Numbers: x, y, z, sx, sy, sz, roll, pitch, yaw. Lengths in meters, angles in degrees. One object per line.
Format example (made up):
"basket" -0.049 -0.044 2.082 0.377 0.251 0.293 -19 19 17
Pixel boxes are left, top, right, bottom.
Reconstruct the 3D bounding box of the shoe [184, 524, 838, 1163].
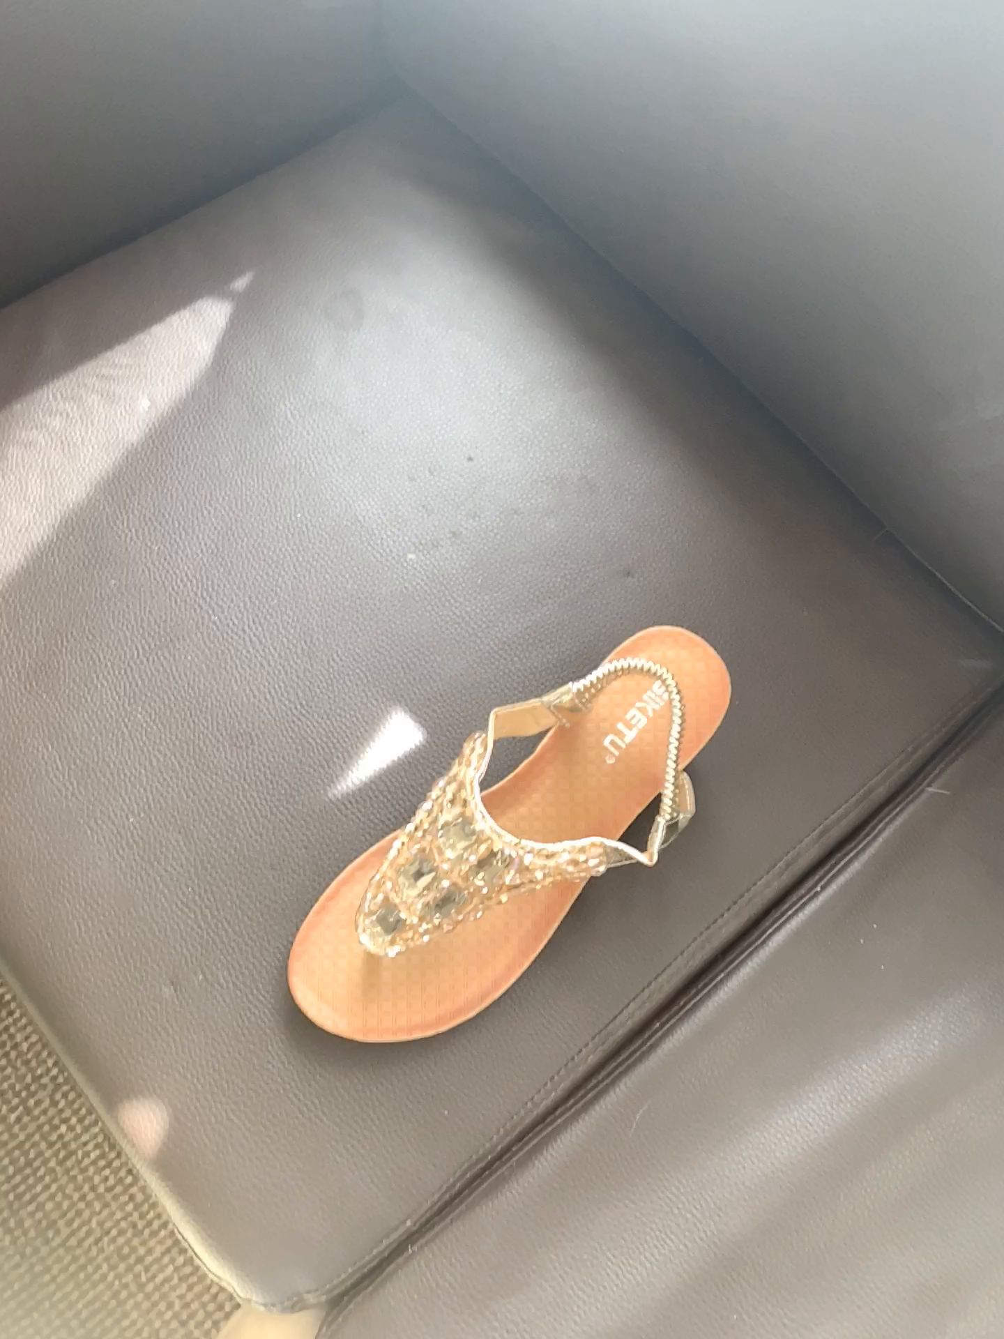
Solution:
"shoe" 0.008 0.079 0.485 0.270 0.140 0.100 -41 78 -13
